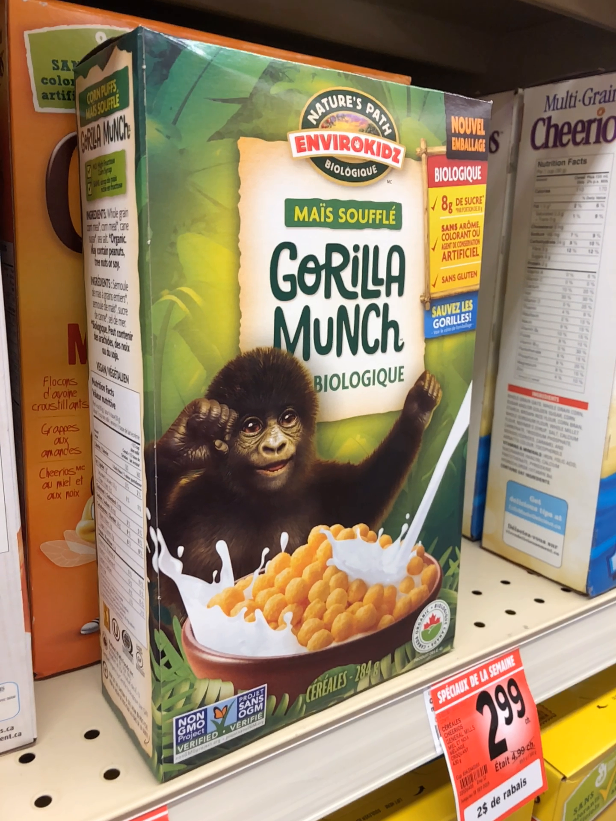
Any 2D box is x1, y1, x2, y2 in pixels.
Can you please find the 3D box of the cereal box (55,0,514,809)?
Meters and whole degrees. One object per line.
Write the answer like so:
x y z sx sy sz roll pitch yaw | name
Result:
-0.007 -0.001 0.279 0.160 0.259 0.060 -8 17 -35 | cereal box
